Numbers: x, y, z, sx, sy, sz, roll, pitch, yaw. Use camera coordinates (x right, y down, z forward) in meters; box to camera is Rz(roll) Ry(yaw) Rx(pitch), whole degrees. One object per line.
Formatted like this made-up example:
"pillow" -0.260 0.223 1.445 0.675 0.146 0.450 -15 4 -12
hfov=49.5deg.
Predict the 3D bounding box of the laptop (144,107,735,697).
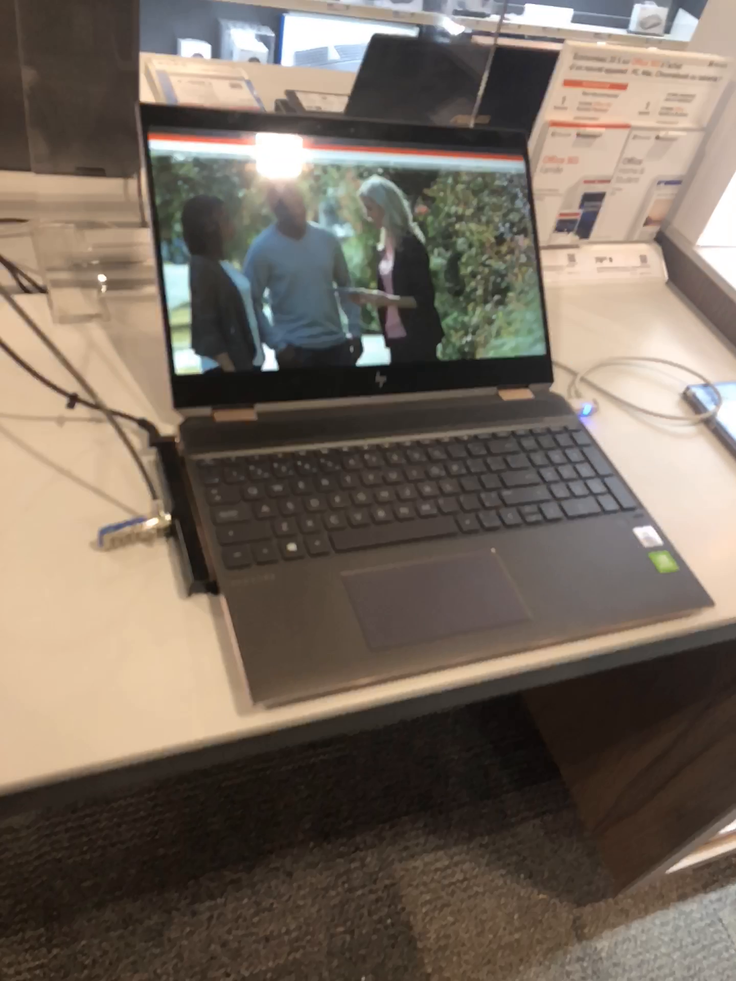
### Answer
"laptop" 0.039 -0.105 0.590 0.334 0.145 0.426 -7 50 -20
